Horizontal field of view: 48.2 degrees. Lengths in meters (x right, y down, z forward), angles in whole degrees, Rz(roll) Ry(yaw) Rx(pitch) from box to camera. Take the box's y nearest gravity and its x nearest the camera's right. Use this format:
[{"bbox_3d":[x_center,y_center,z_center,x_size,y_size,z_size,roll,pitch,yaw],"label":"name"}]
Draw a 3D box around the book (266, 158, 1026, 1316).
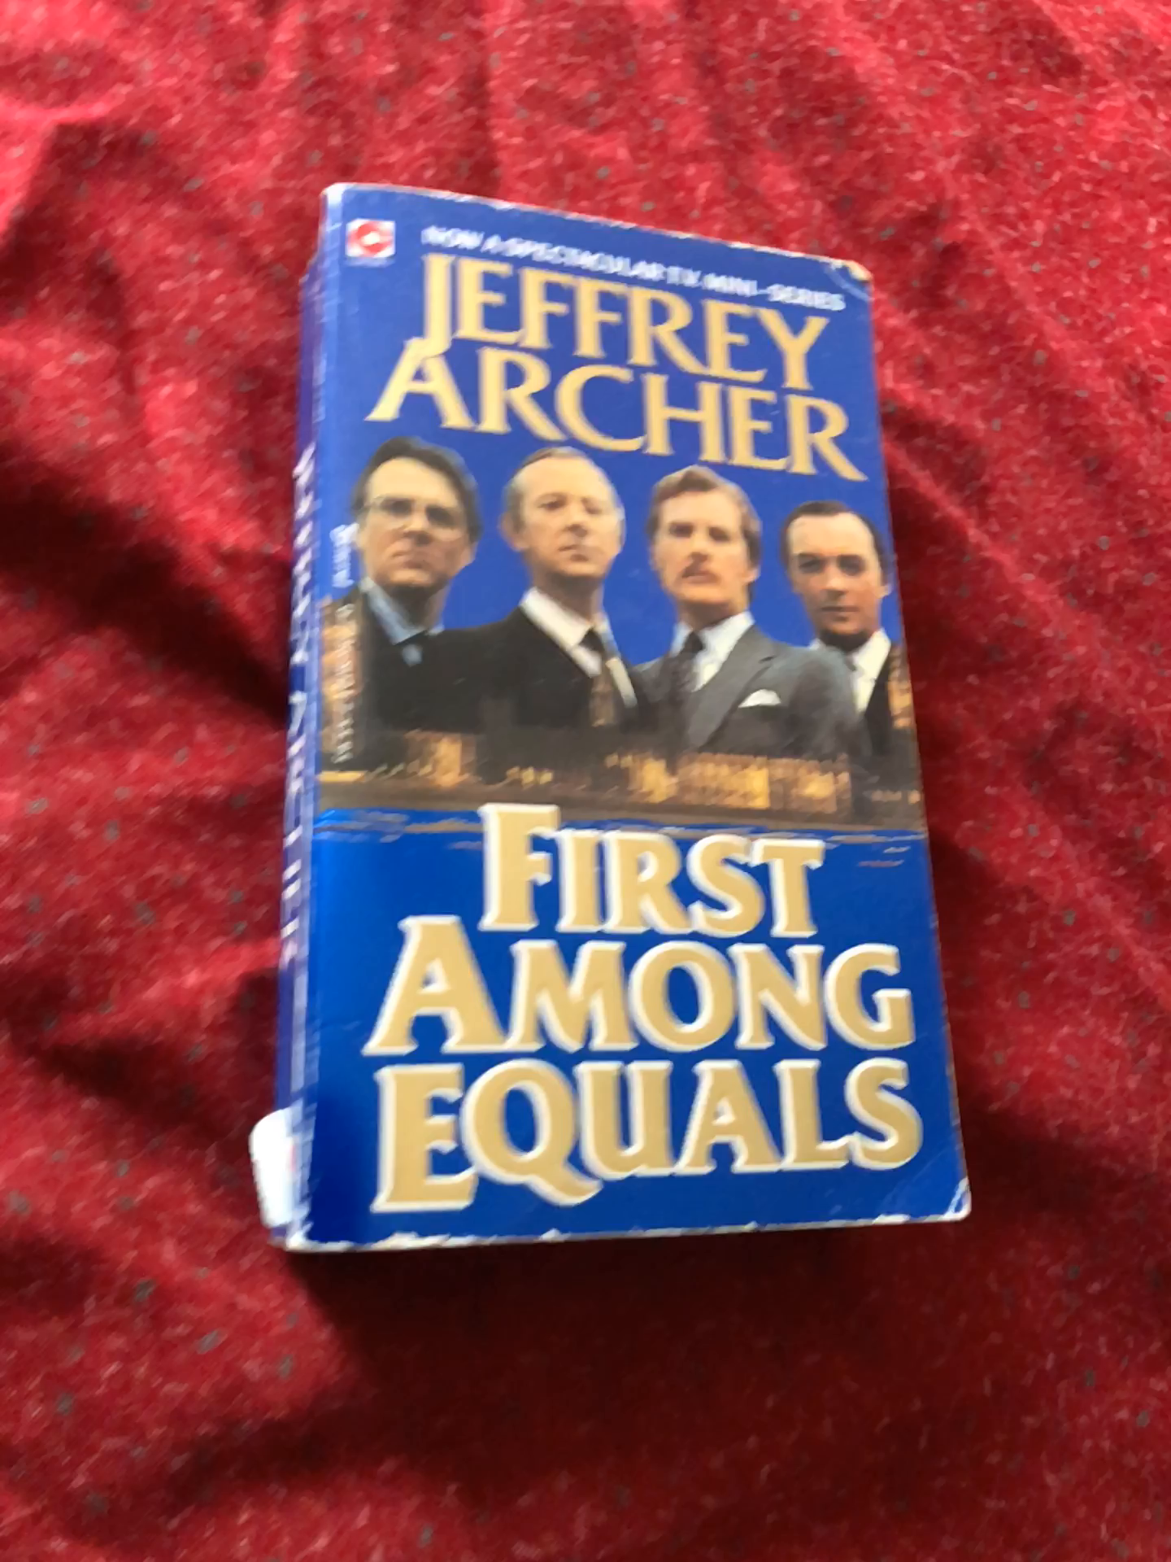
[{"bbox_3d":[0.006,-0.009,0.224,0.110,0.038,0.177,3,74,-17],"label":"book"}]
